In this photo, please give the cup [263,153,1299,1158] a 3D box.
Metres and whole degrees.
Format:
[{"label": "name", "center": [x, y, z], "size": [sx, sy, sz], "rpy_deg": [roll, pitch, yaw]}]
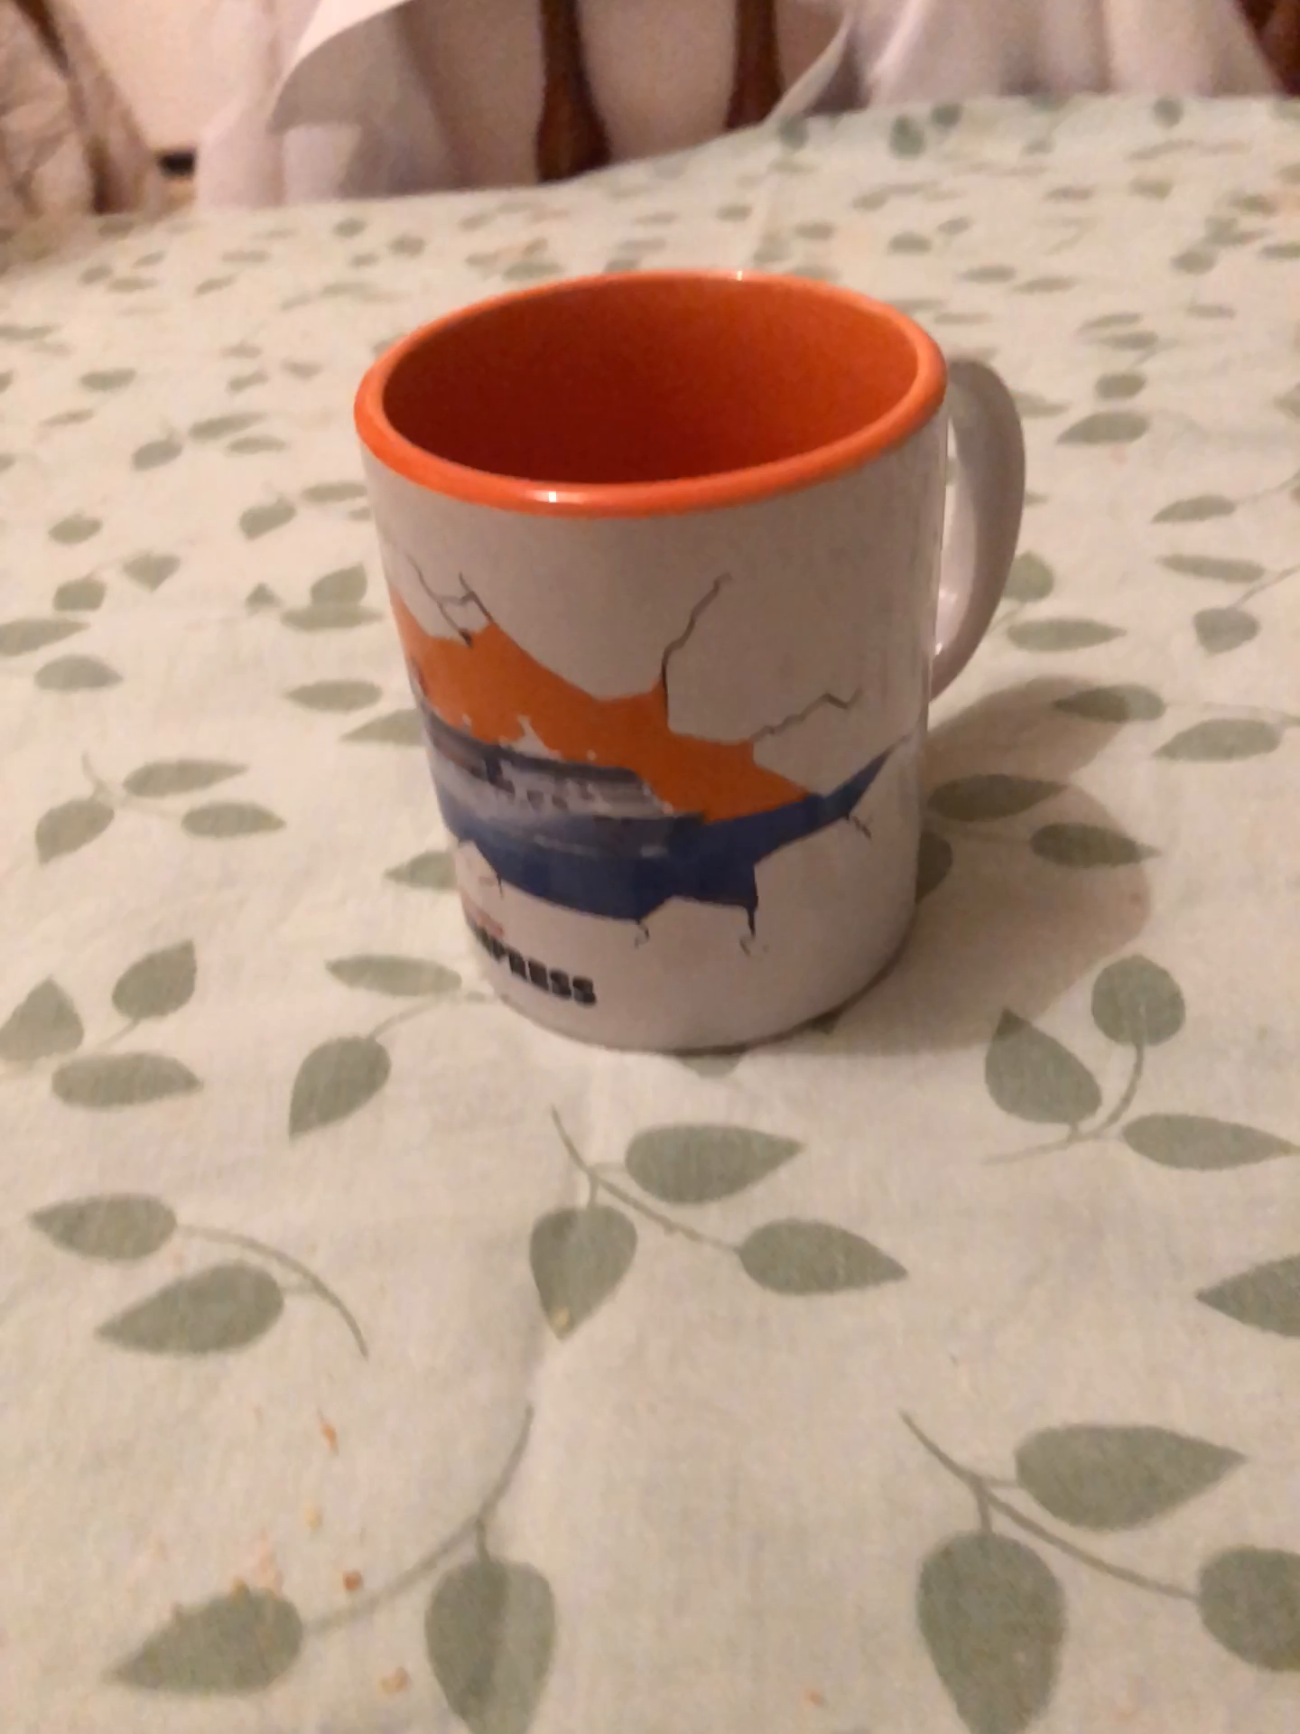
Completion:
[{"label": "cup", "center": [0.022, -0.041, 0.231], "size": [0.120, 0.099, 0.080], "rpy_deg": [-29, 44, -26]}]
